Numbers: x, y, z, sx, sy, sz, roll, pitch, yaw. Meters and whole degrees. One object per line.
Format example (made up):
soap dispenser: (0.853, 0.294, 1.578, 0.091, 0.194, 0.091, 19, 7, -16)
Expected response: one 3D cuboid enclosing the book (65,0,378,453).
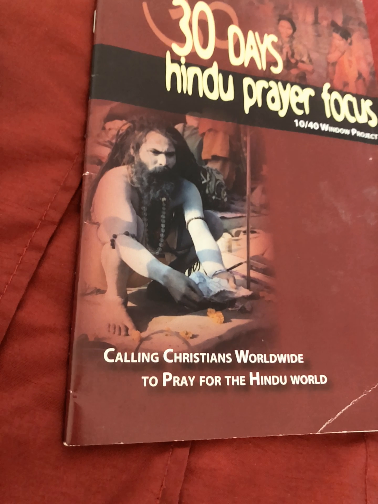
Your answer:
book: (0.030, -0.037, 0.177, 0.142, 0.010, 0.210, 5, 72, -17)
